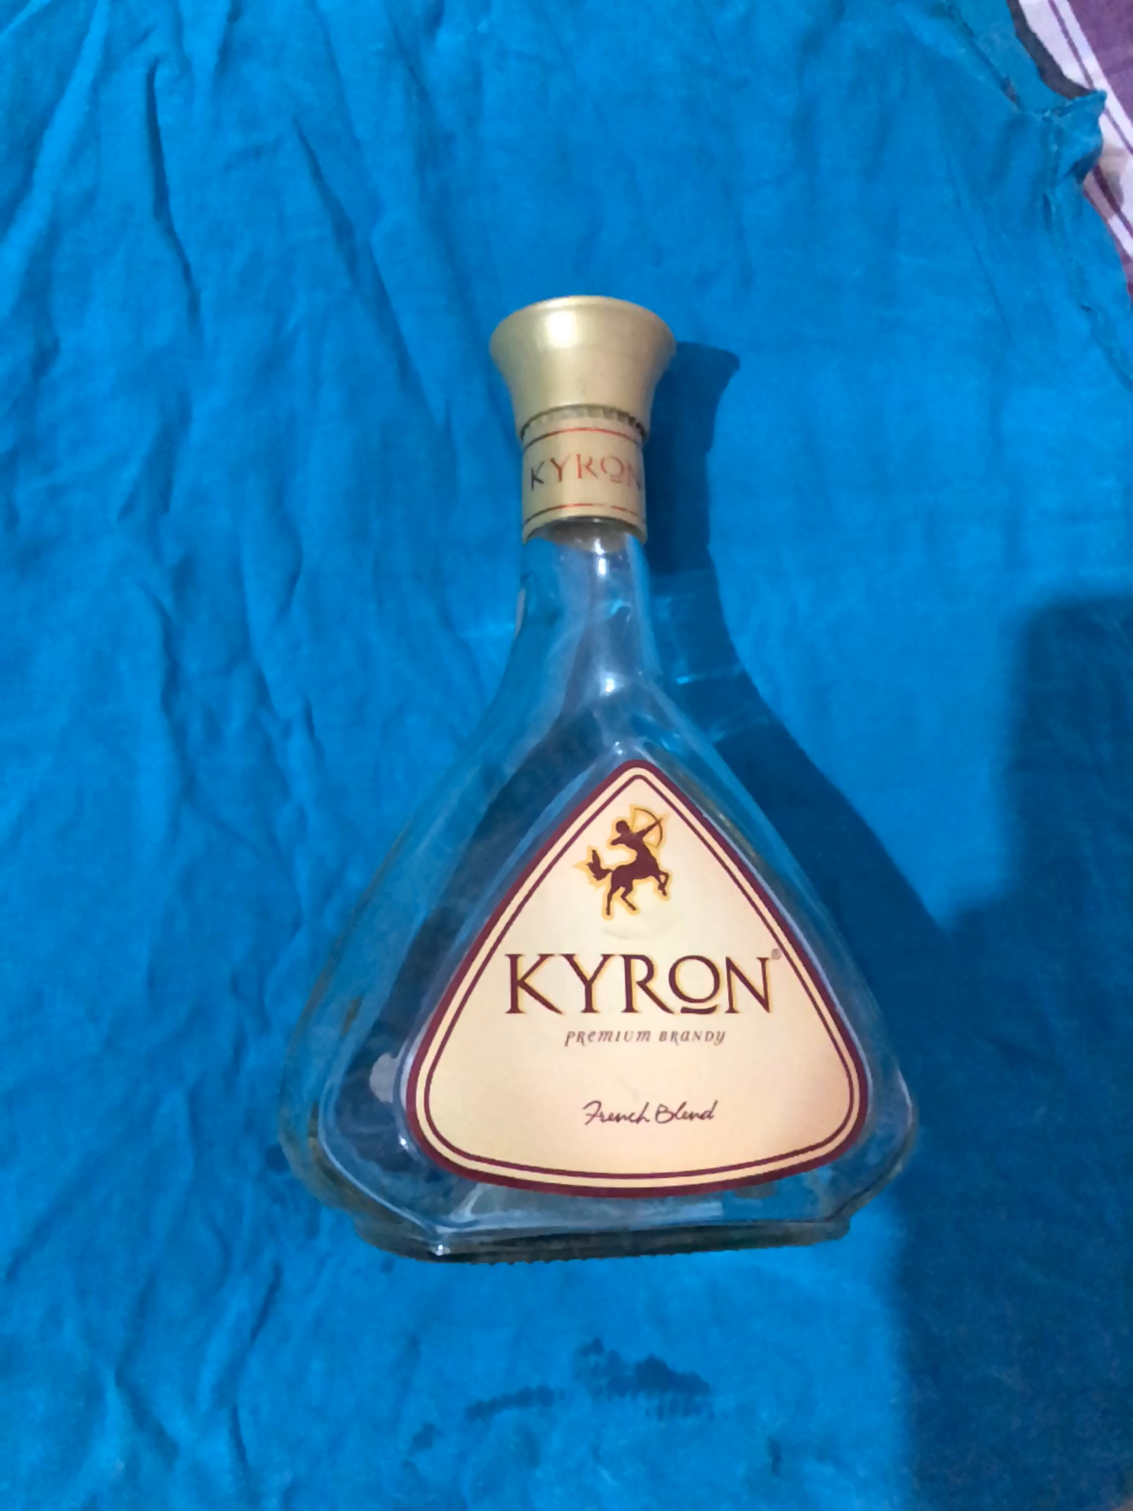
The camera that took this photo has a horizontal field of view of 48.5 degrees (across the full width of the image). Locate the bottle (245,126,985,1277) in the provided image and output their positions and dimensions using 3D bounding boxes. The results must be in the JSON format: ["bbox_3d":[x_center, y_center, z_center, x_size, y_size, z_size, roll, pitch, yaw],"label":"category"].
[{"bbox_3d":[0.006,-0.012,0.309,0.150,0.080,0.240,2,80,-10],"label":"bottle"}]
